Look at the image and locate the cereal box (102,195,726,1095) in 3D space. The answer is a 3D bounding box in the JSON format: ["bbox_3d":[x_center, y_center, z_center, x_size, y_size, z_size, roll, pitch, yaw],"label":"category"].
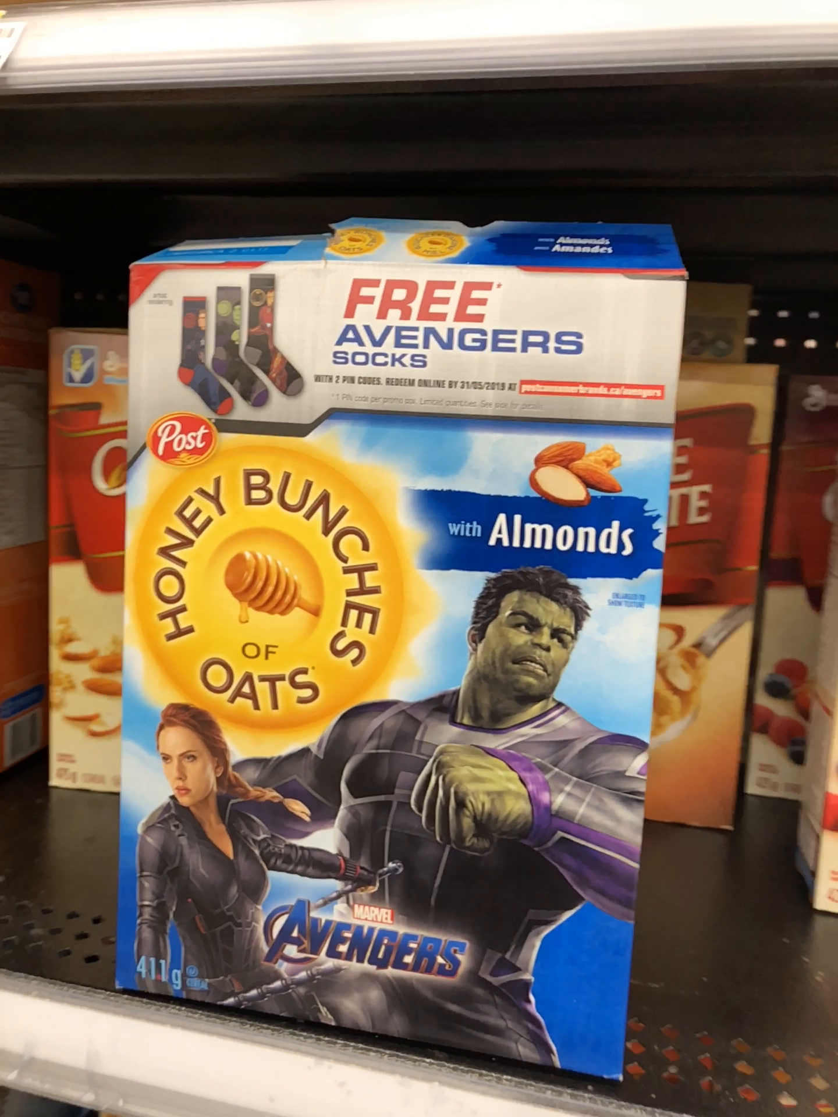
[{"bbox_3d":[-0.008,0.024,0.346,0.200,0.289,0.070,5,9,12],"label":"cereal box"}]
